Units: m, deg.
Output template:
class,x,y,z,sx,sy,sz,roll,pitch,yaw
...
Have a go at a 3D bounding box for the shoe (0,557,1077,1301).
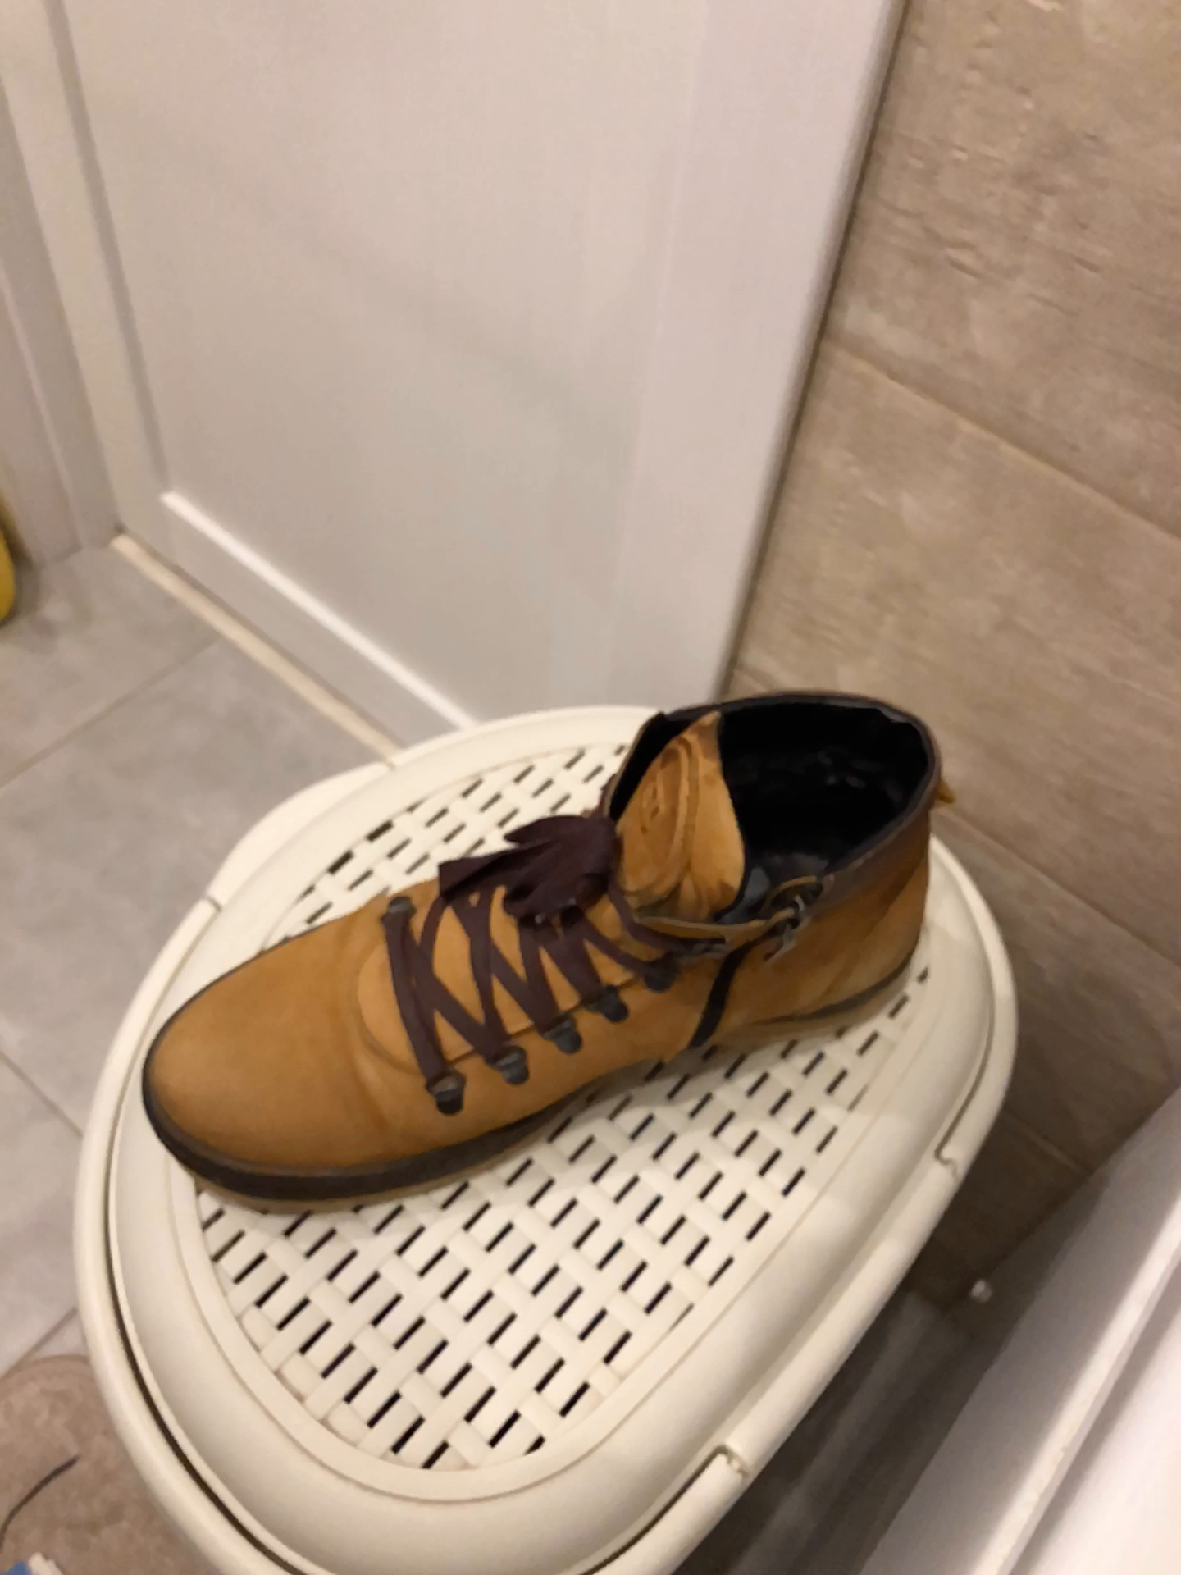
class,x,y,z,sx,sy,sz,roll,pitch,yaw
shoe,-0.018,0.048,0.445,0.290,0.169,0.111,-14,57,-15
